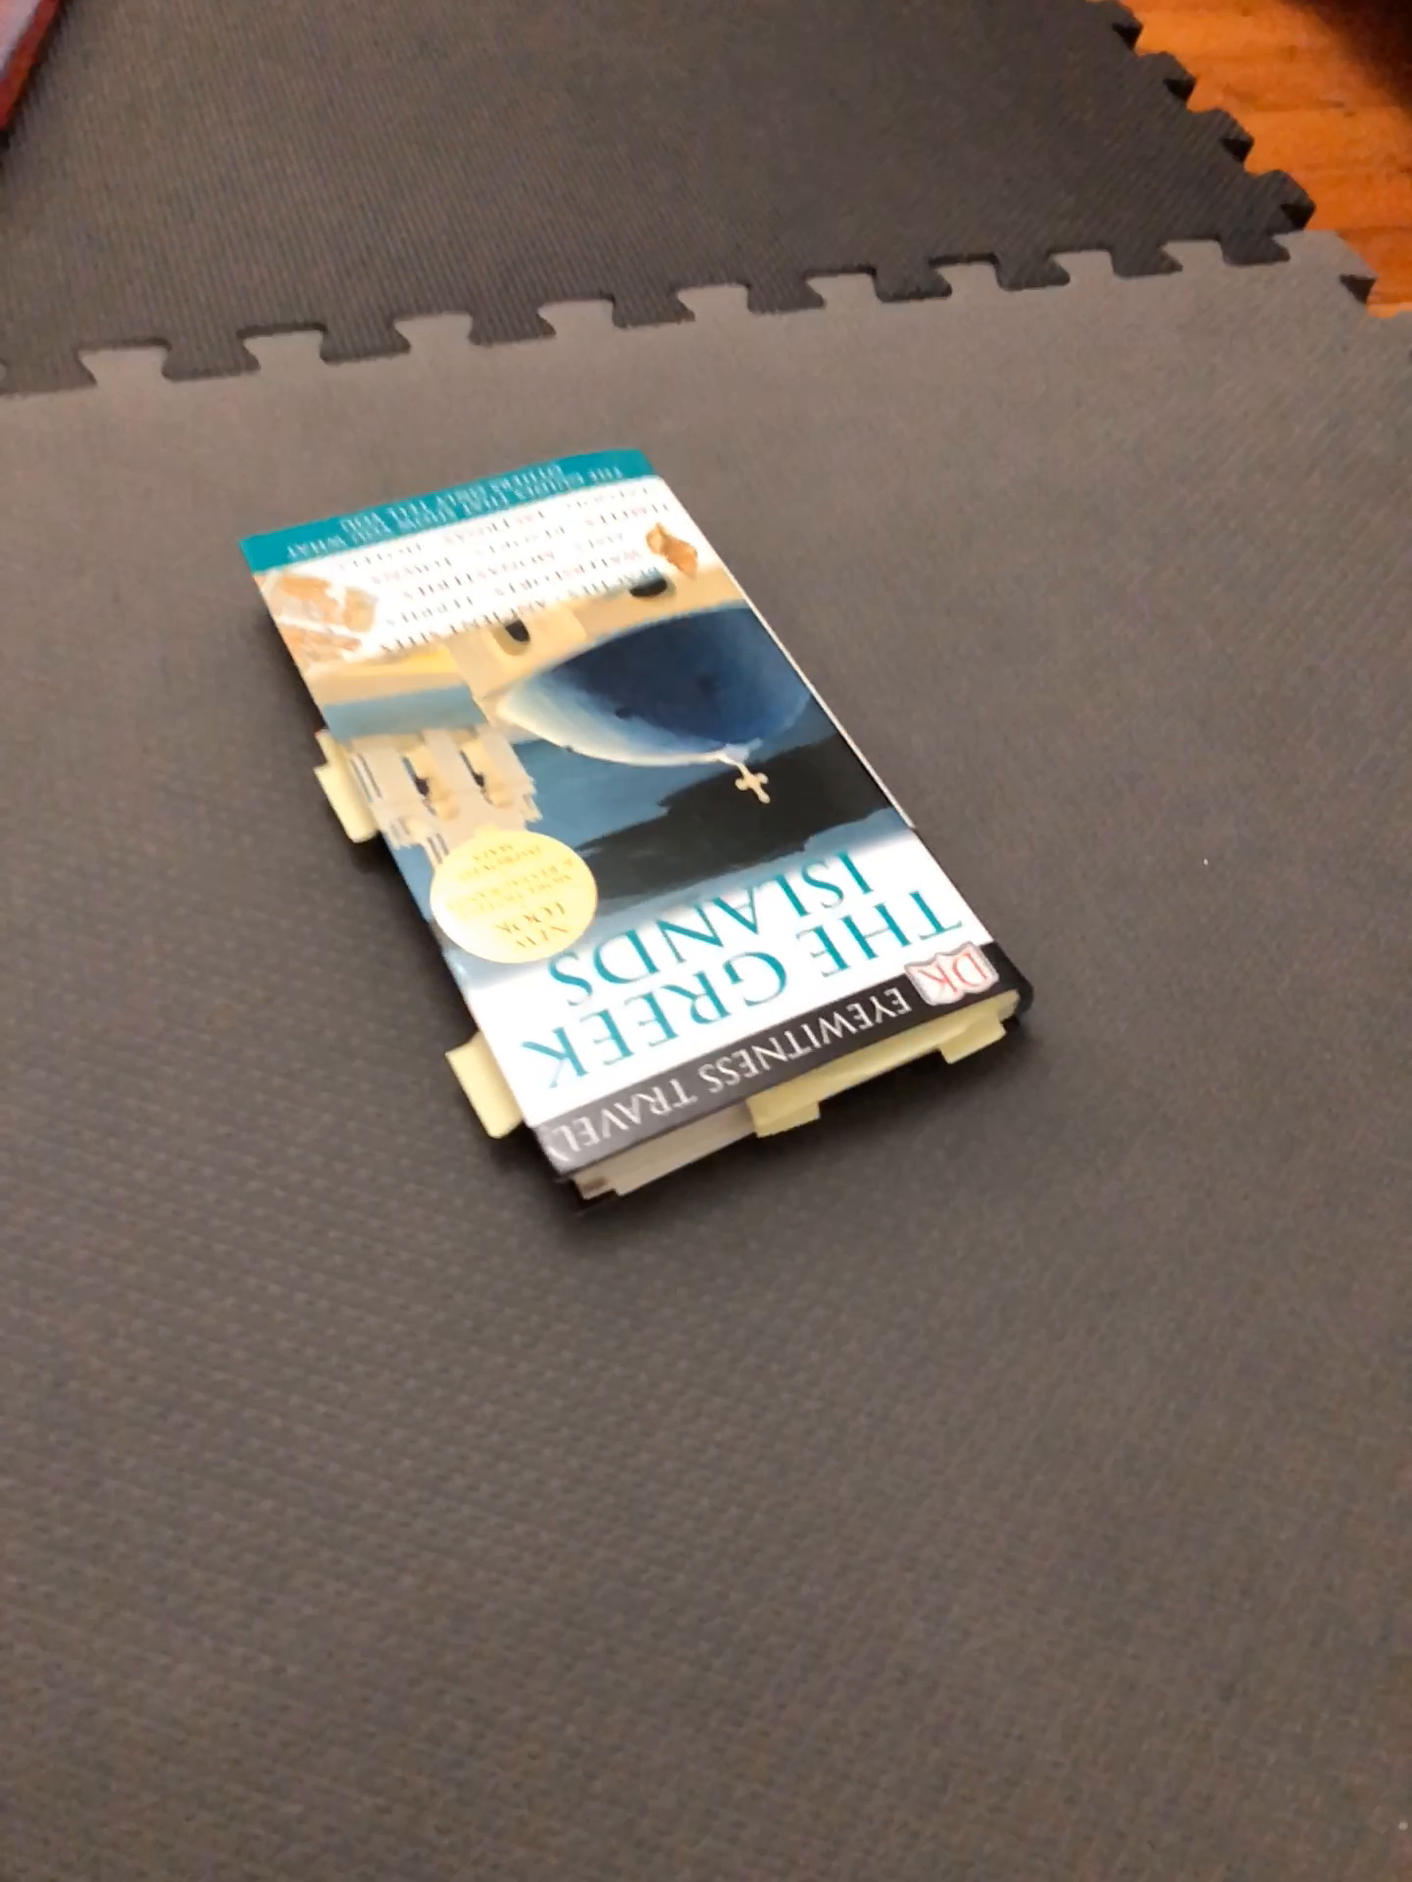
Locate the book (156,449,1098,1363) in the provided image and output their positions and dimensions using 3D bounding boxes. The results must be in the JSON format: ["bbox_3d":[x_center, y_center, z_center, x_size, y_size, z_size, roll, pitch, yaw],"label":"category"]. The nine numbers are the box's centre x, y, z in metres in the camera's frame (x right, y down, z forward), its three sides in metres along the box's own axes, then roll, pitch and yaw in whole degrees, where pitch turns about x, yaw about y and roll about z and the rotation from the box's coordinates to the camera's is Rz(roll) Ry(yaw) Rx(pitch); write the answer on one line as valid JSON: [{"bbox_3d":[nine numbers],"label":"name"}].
[{"bbox_3d":[-0.031,-0.031,0.418,0.160,0.030,0.241,-19,59,-20],"label":"book"}]
